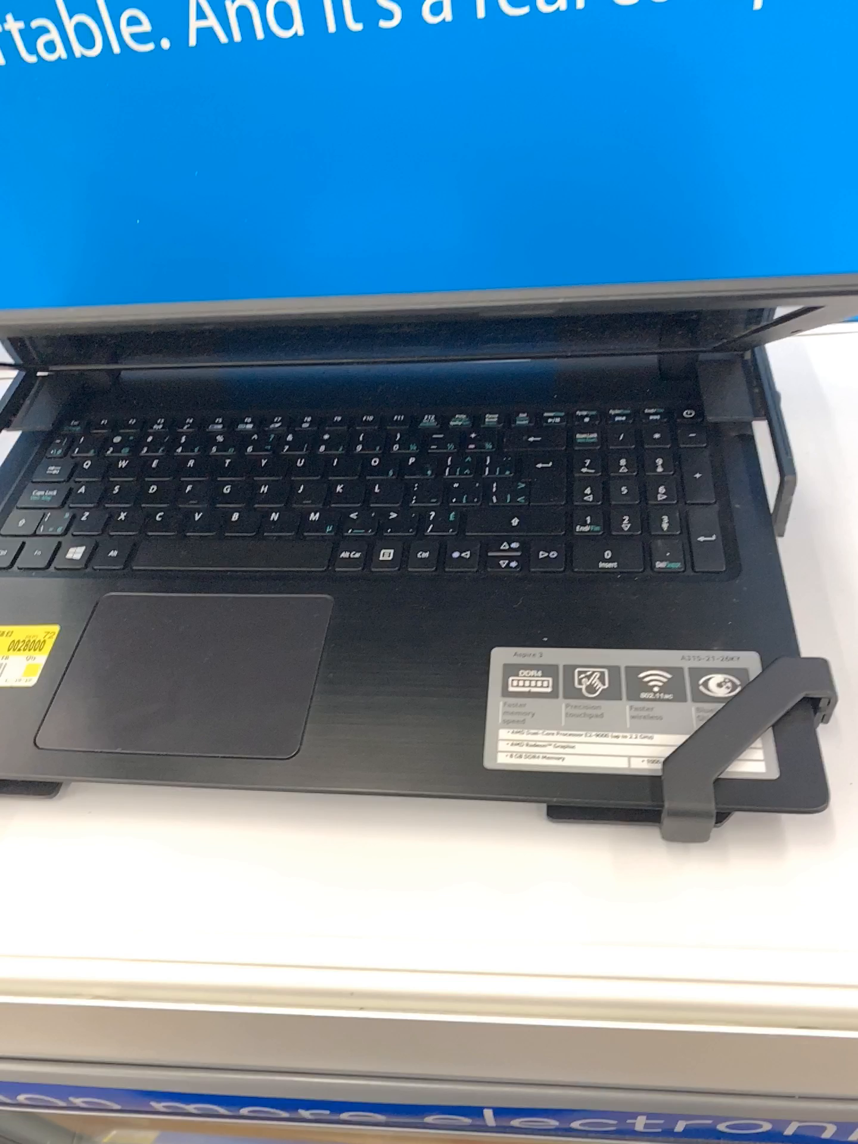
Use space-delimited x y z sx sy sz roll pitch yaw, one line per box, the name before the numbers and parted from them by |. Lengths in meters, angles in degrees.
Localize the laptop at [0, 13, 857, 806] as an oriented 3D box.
laptop | -0.050 -0.065 0.331 0.364 0.146 0.234 0 50 9
